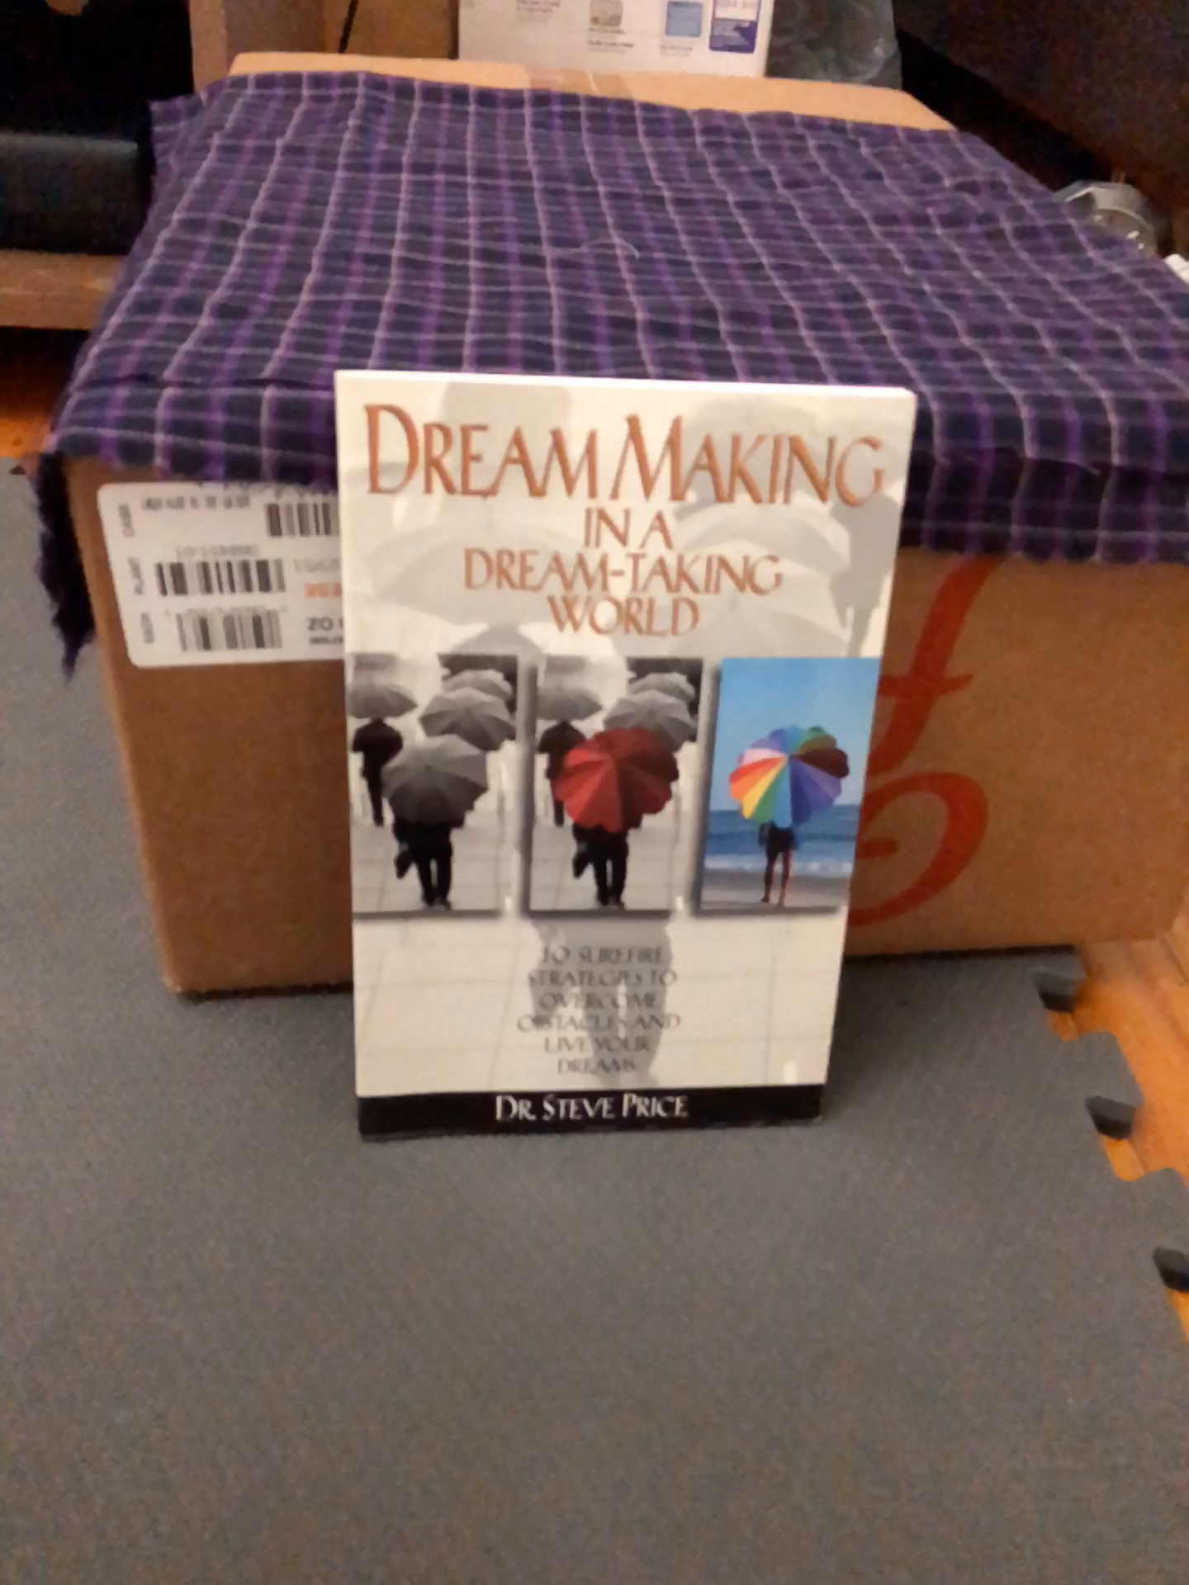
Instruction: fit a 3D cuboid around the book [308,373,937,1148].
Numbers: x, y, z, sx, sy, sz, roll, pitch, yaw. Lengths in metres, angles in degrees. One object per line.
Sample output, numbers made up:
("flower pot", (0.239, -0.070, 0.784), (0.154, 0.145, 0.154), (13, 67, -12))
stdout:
("book", (0.004, 0.001, 0.360), (0.150, 0.219, 0.020), (0, 23, -5))
